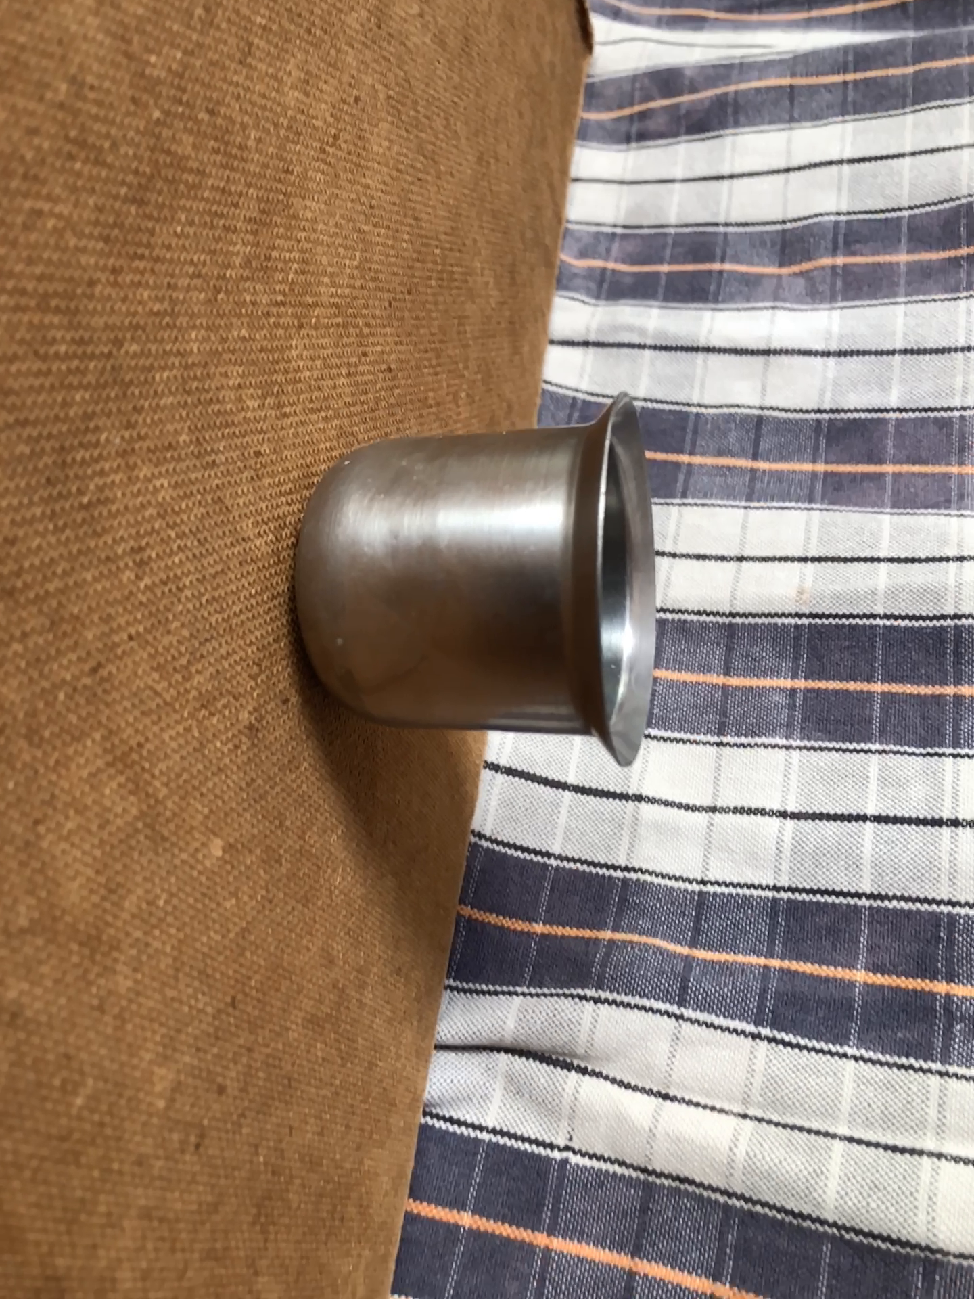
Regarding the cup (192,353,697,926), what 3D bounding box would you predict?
[{"bbox_3d":[0.001,-0.005,0.191,0.070,0.060,0.070,0,90,-73],"label":"cup"}]
